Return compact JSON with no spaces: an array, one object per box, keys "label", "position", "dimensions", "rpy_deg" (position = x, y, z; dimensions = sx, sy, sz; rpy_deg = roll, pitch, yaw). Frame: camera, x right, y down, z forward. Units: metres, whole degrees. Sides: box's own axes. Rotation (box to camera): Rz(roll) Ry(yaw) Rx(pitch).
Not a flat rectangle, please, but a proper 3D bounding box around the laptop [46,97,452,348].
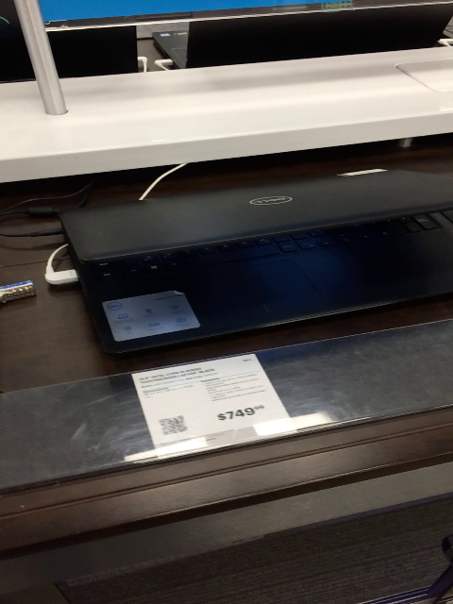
[{"label":"laptop","position":[0.043,-0.096,0.601],"dimensions":[0.389,0.108,0.216],"rpy_deg":[-11,45,-13]}]
